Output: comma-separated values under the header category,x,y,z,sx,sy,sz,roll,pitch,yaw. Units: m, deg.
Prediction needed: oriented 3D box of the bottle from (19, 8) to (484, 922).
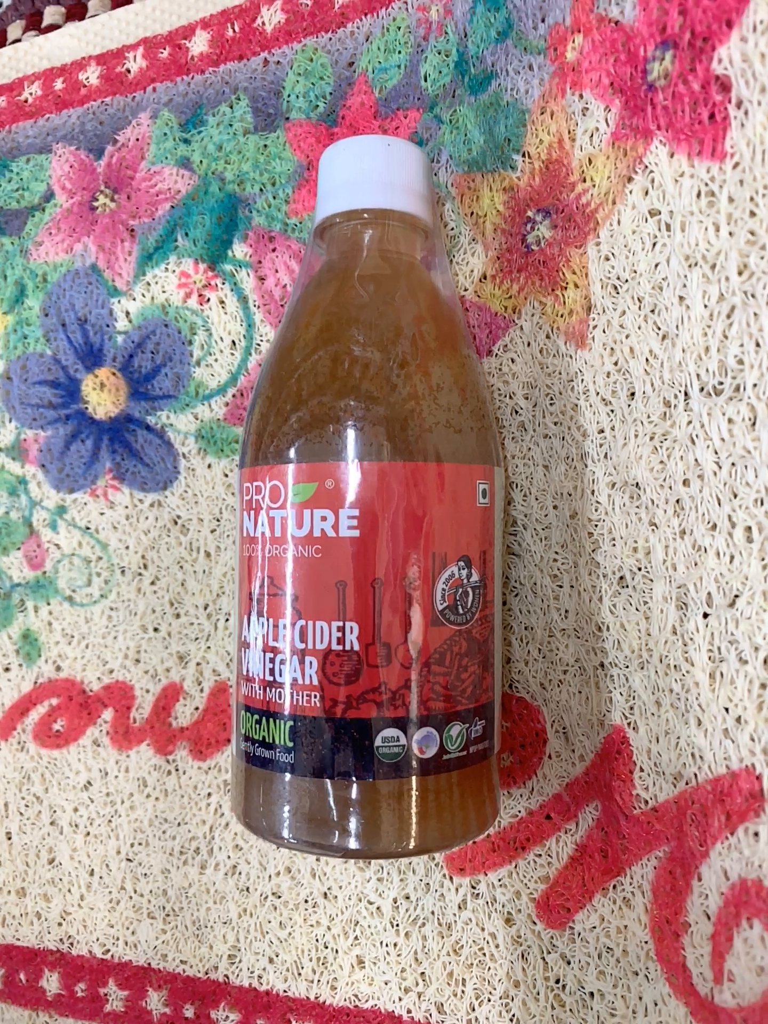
category,x,y,z,sx,sy,sz,roll,pitch,yaw
bottle,-0.027,-0.006,0.181,0.080,0.050,0.160,-1,95,28
